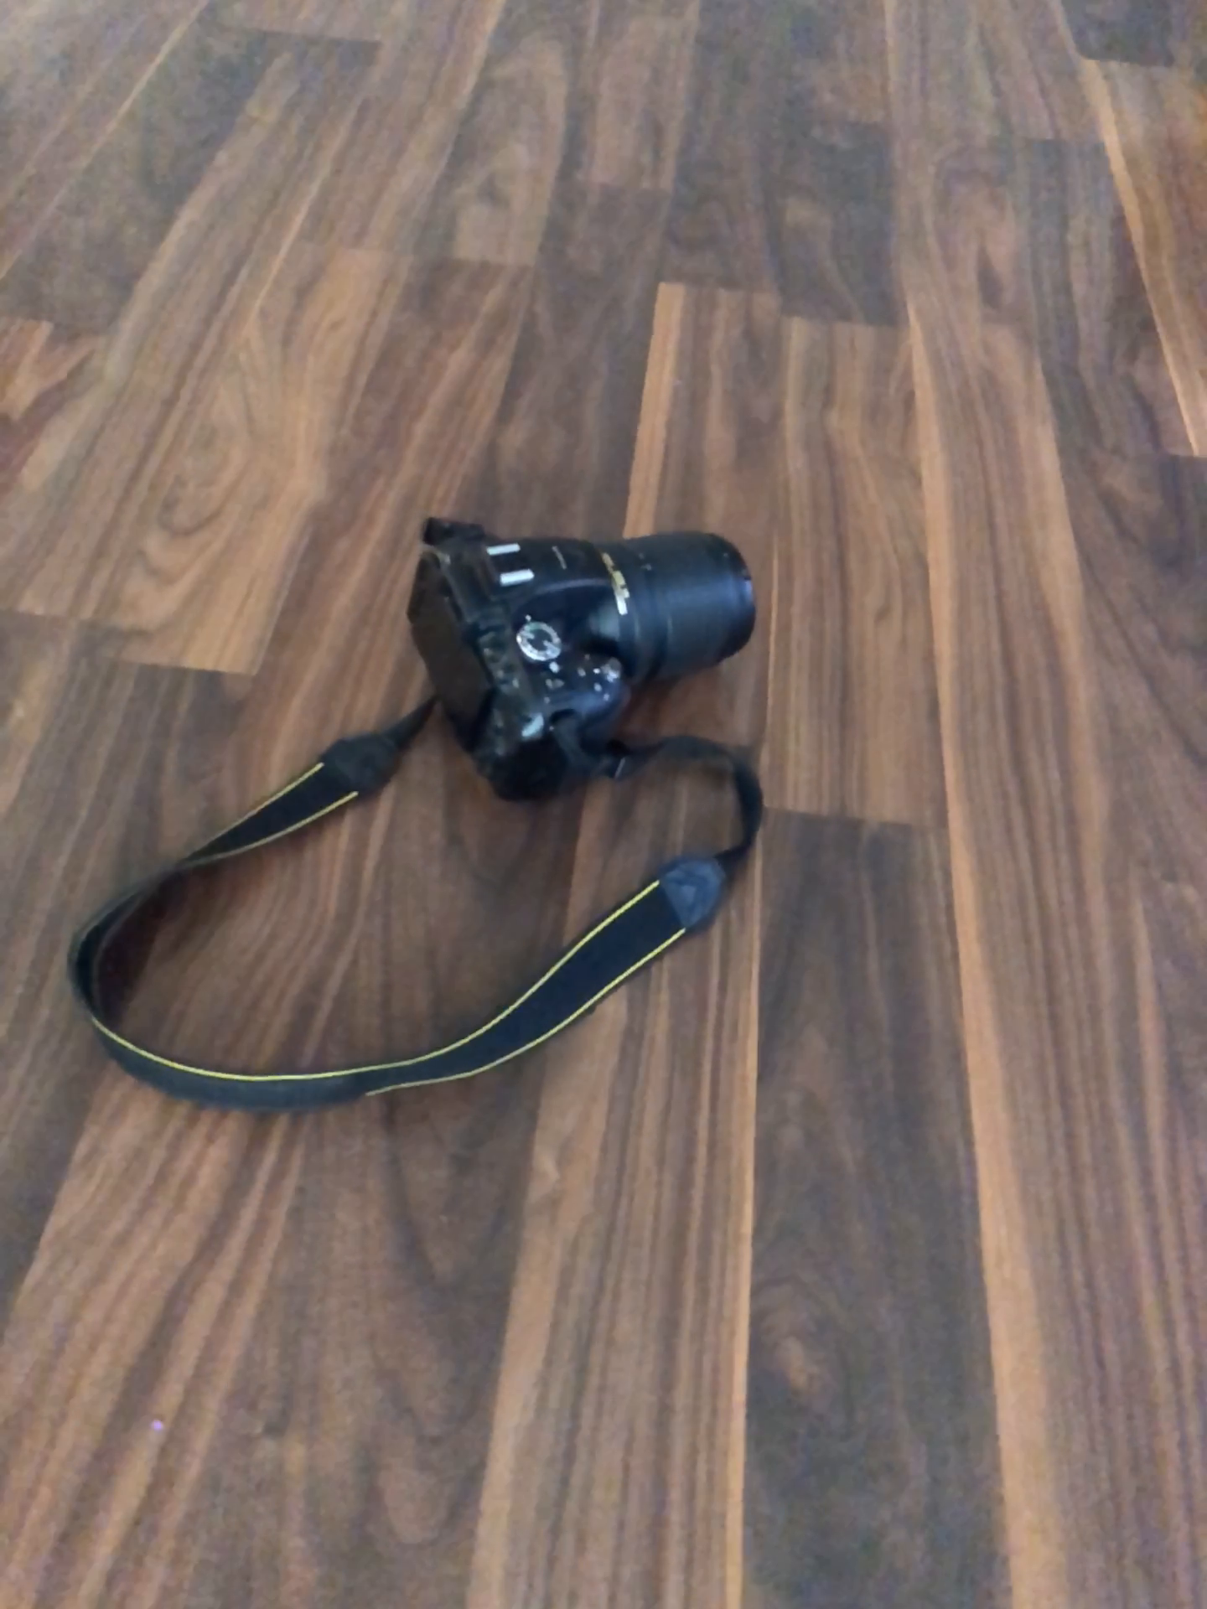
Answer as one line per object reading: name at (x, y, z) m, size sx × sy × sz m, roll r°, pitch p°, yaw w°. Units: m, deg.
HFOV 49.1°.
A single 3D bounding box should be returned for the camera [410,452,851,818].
camera at (0.009, -0.084, 0.618) m, size 0.160 × 0.070 × 0.120 m, roll -20°, pitch 53°, yaw -19°
